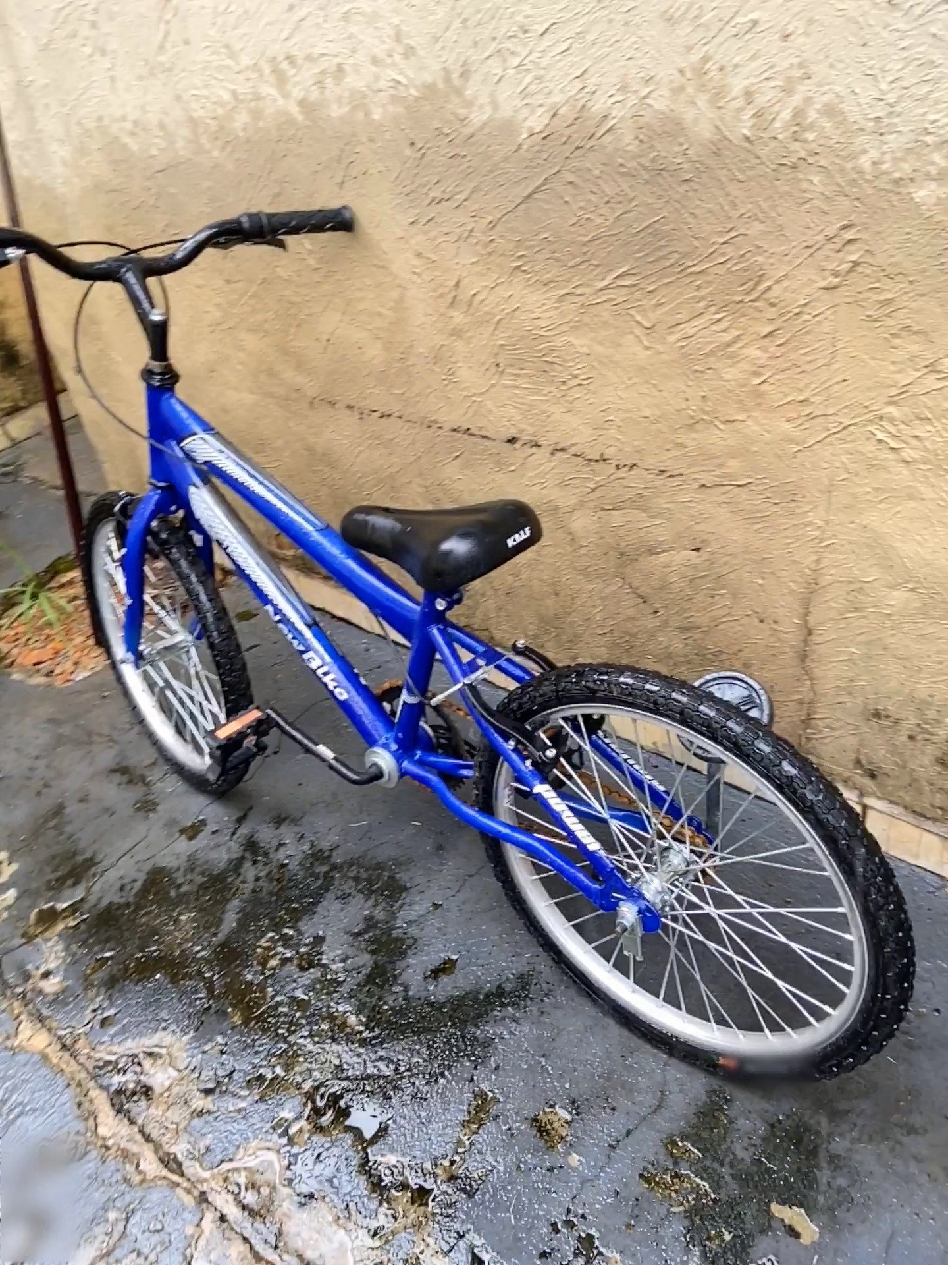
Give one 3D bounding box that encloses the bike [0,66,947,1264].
[{"bbox_3d":[-0.096,-0.096,1.094,1.253,0.849,0.544,21,47,34],"label":"bike"}]
